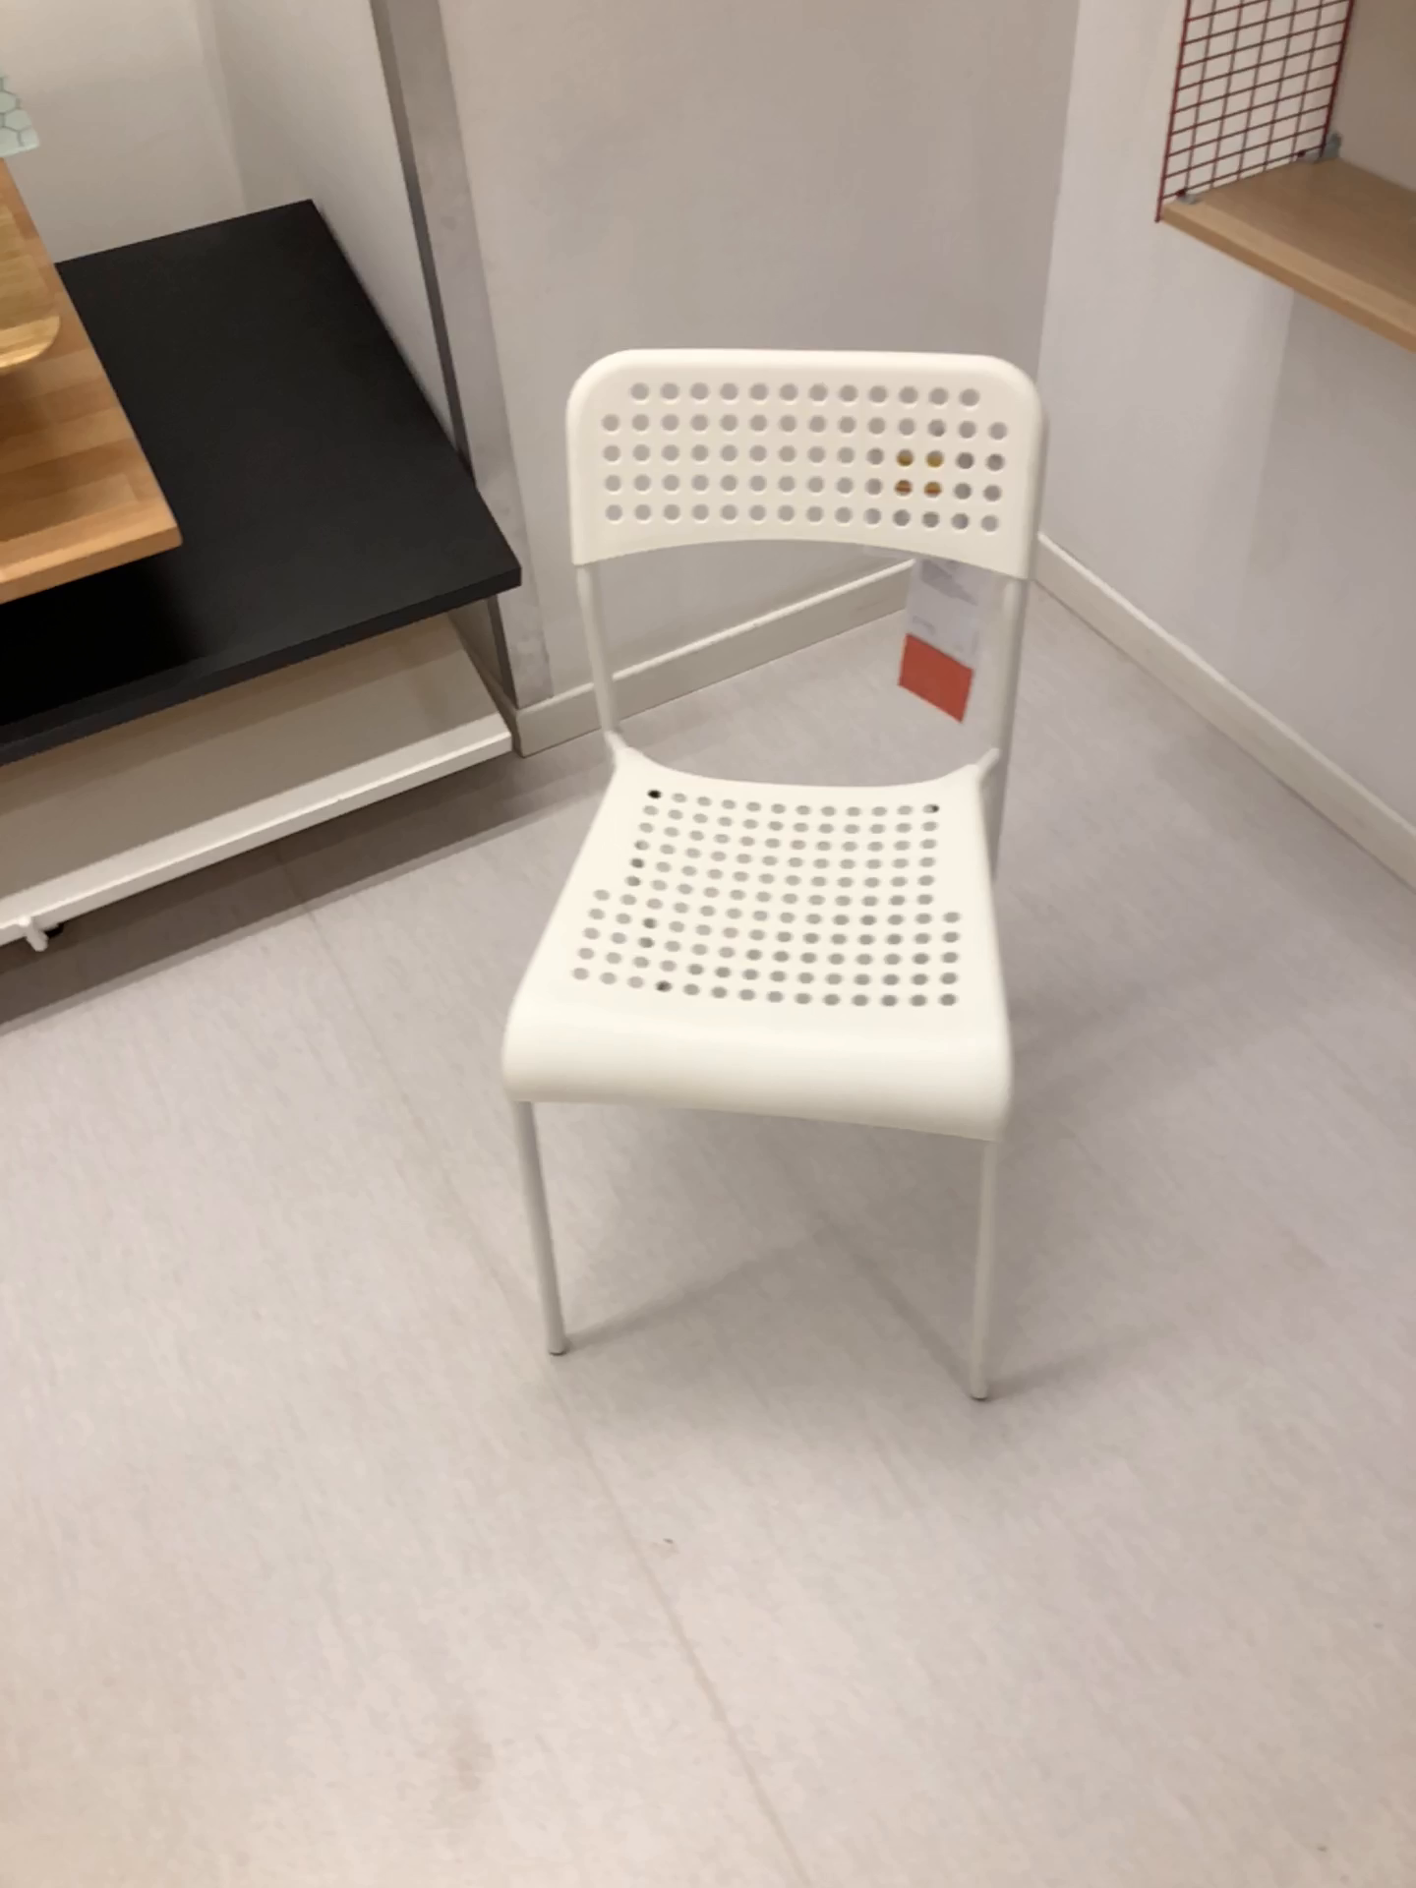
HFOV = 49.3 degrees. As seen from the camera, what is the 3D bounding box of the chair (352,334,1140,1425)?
[{"bbox_3d":[0.068,-0.021,1.244,0.420,0.735,0.473,4,49,8],"label":"chair"}]
